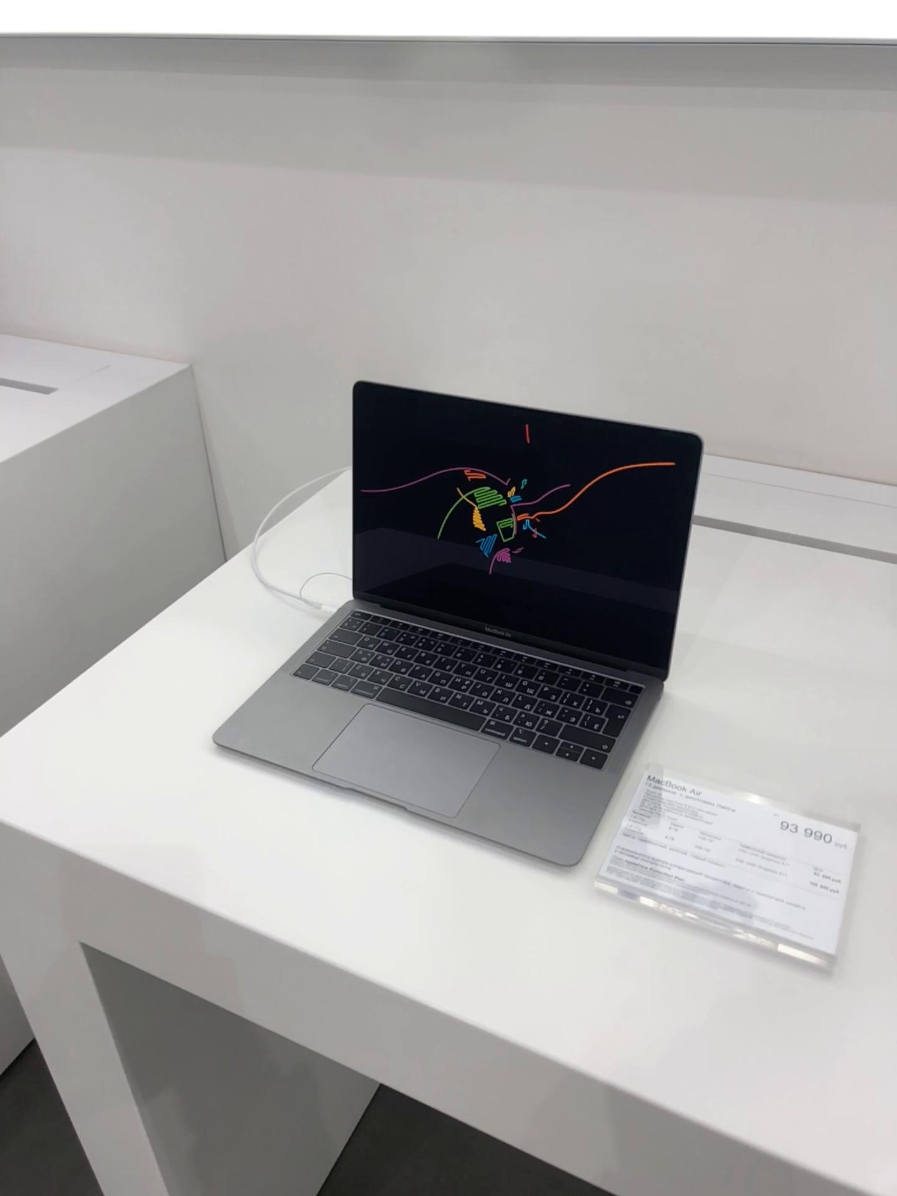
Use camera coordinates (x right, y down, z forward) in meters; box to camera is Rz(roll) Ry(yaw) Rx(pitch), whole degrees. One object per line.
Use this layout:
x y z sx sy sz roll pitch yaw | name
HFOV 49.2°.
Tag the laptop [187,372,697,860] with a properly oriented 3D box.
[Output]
0.007 -0.010 0.739 0.285 0.194 0.251 13 37 22 | laptop
